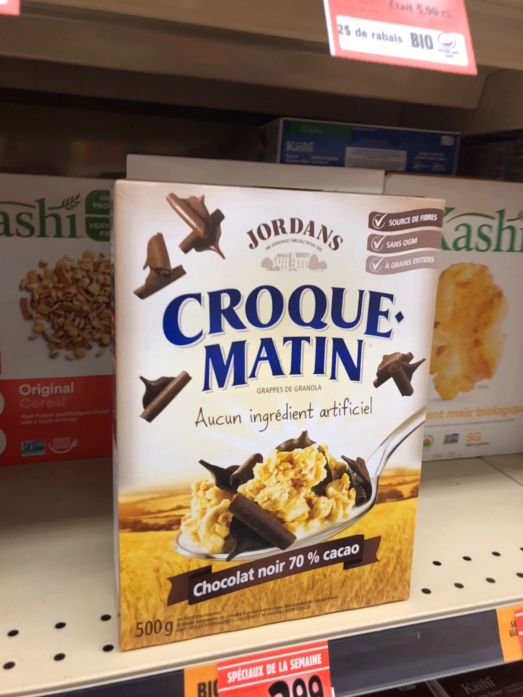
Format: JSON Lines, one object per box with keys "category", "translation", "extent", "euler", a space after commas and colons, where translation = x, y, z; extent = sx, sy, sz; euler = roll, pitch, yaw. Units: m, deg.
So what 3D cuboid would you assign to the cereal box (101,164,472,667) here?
{"category": "cereal box", "translation": [0.011, 0.034, 0.327], "extent": [0.190, 0.249, 0.050], "euler": [-2, 11, -18]}
